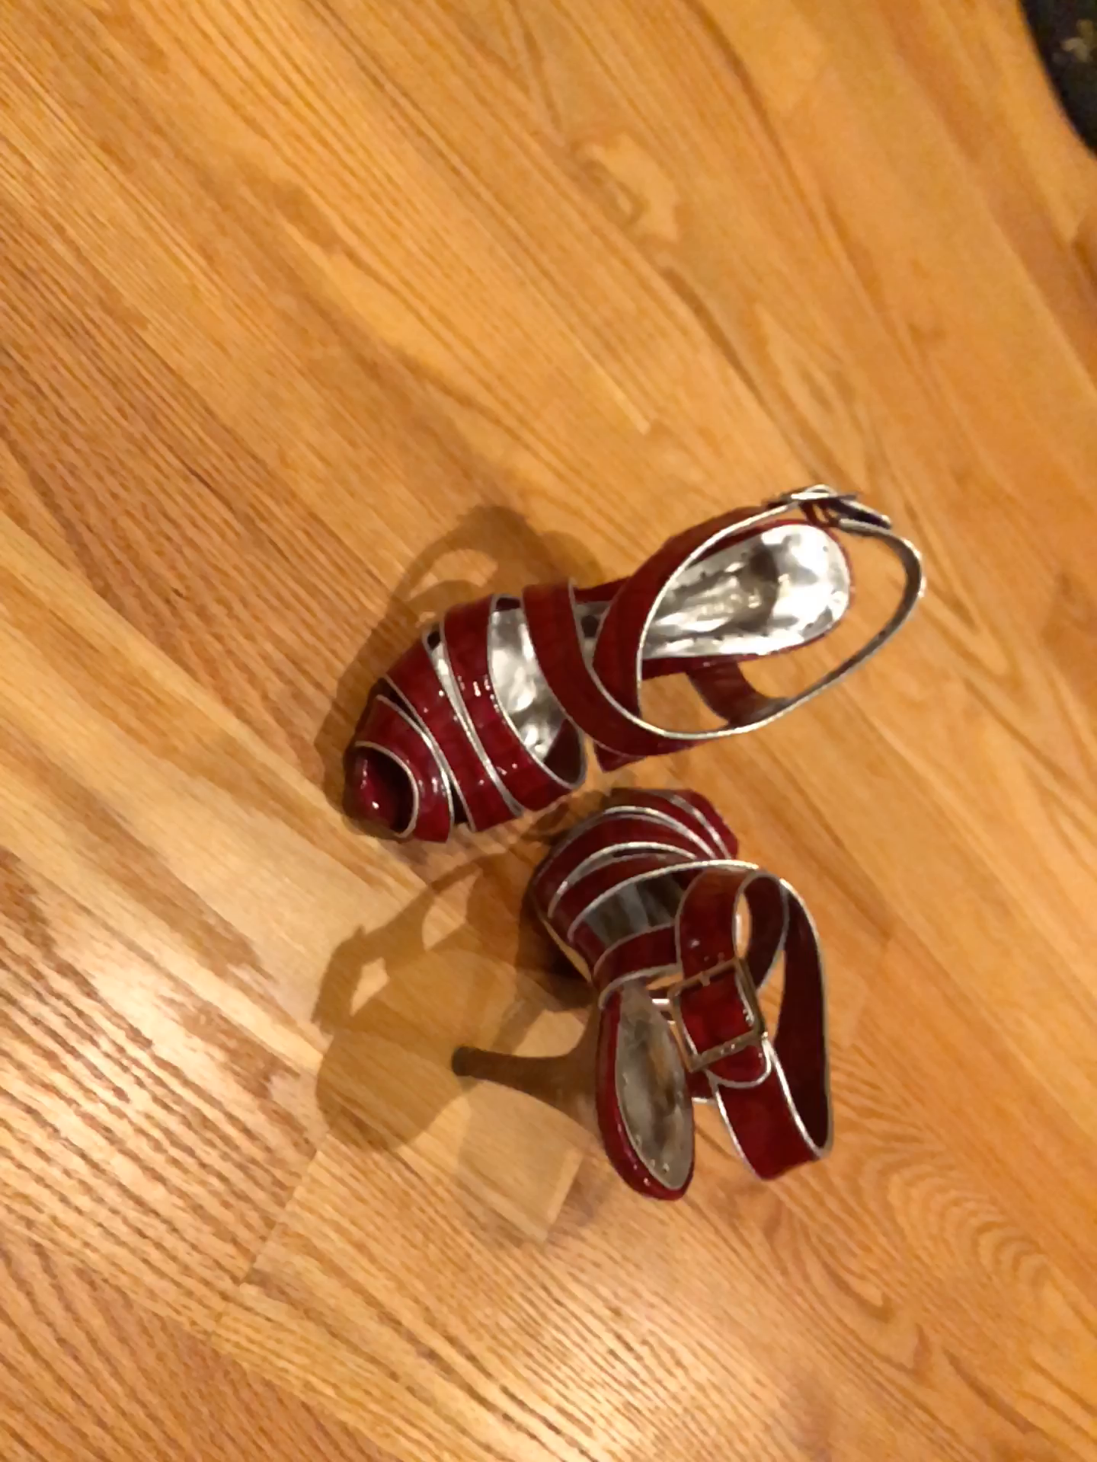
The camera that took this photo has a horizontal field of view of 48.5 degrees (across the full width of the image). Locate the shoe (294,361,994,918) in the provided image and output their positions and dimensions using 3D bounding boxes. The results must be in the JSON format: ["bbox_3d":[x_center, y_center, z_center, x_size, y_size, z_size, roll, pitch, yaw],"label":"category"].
[{"bbox_3d":[0.039,-0.032,0.447,0.199,0.151,0.091,-41,108,-38],"label":"shoe"}]

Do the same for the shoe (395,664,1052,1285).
[{"bbox_3d":[0.069,0.079,0.450,0.194,0.141,0.091,-45,110,-36],"label":"shoe"}]
